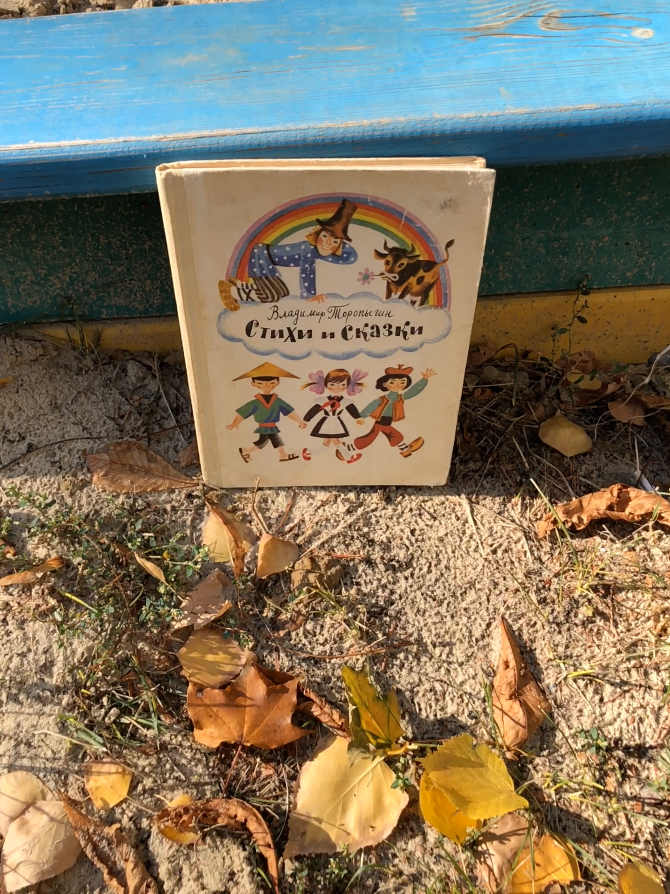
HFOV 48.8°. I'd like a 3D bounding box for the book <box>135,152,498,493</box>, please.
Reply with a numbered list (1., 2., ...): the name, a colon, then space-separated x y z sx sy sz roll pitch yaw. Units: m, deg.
1. book: -0.007 -0.060 0.437 0.178 0.213 0.024 -1 39 1
